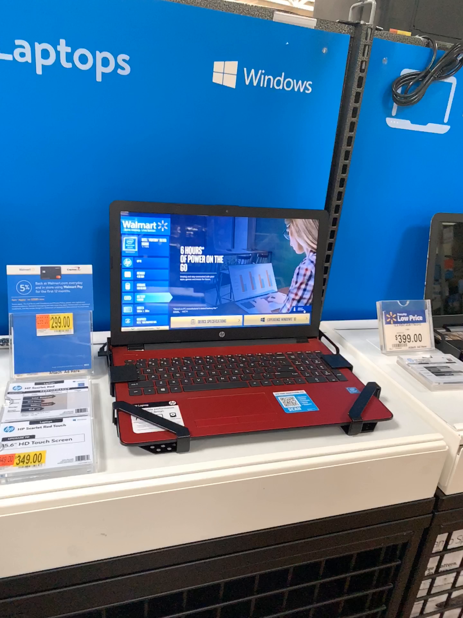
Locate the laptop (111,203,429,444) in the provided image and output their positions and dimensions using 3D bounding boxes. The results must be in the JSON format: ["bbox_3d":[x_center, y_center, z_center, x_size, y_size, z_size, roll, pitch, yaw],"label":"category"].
[{"bbox_3d":[0.019,-0.006,0.688,0.364,0.223,0.280,-1,23,-17],"label":"laptop"}]
